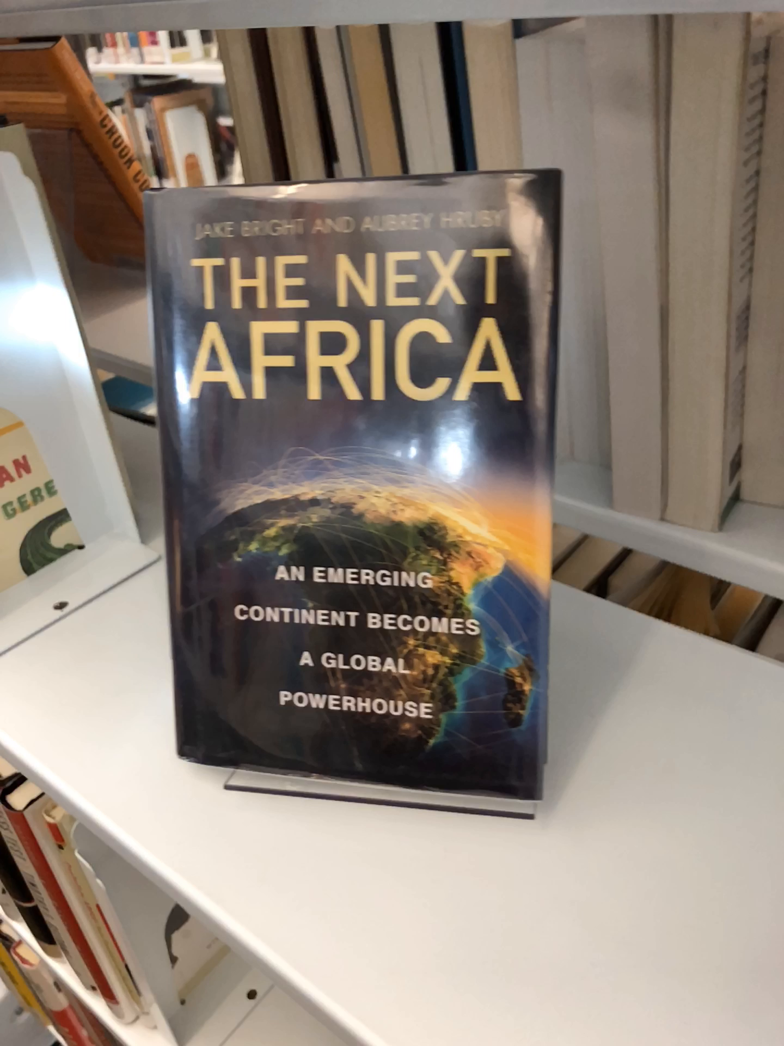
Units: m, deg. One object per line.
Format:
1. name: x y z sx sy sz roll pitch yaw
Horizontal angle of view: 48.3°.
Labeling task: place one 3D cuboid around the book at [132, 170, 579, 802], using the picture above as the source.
1. book: -0.013 -0.011 0.322 0.153 0.211 0.030 2 10 13
